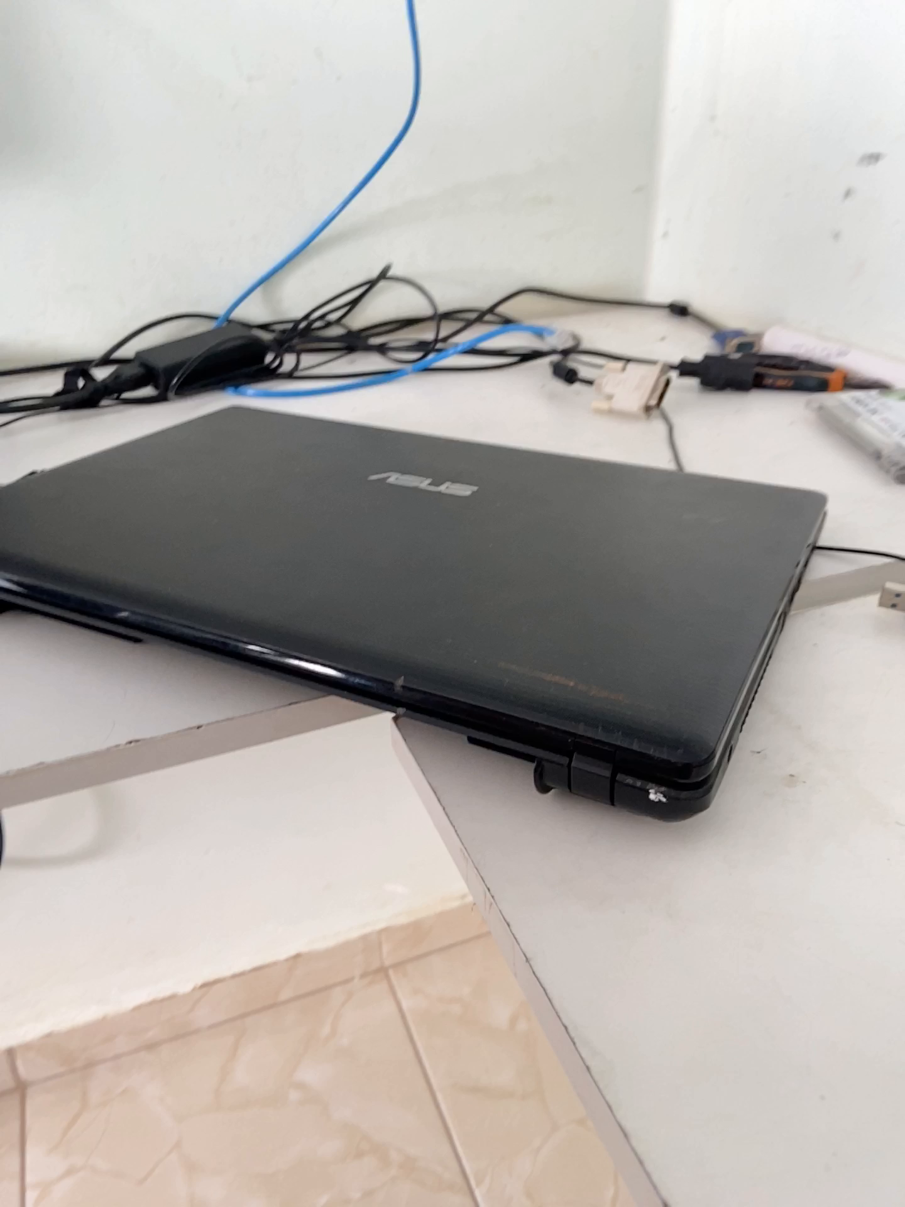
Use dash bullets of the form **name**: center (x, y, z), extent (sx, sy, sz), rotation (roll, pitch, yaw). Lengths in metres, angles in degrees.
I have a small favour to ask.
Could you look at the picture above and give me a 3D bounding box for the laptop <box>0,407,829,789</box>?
- **laptop**: center (-0.036, -0.039, 0.454), extent (0.381, 0.010, 0.254), rotation (13, 30, 25)
